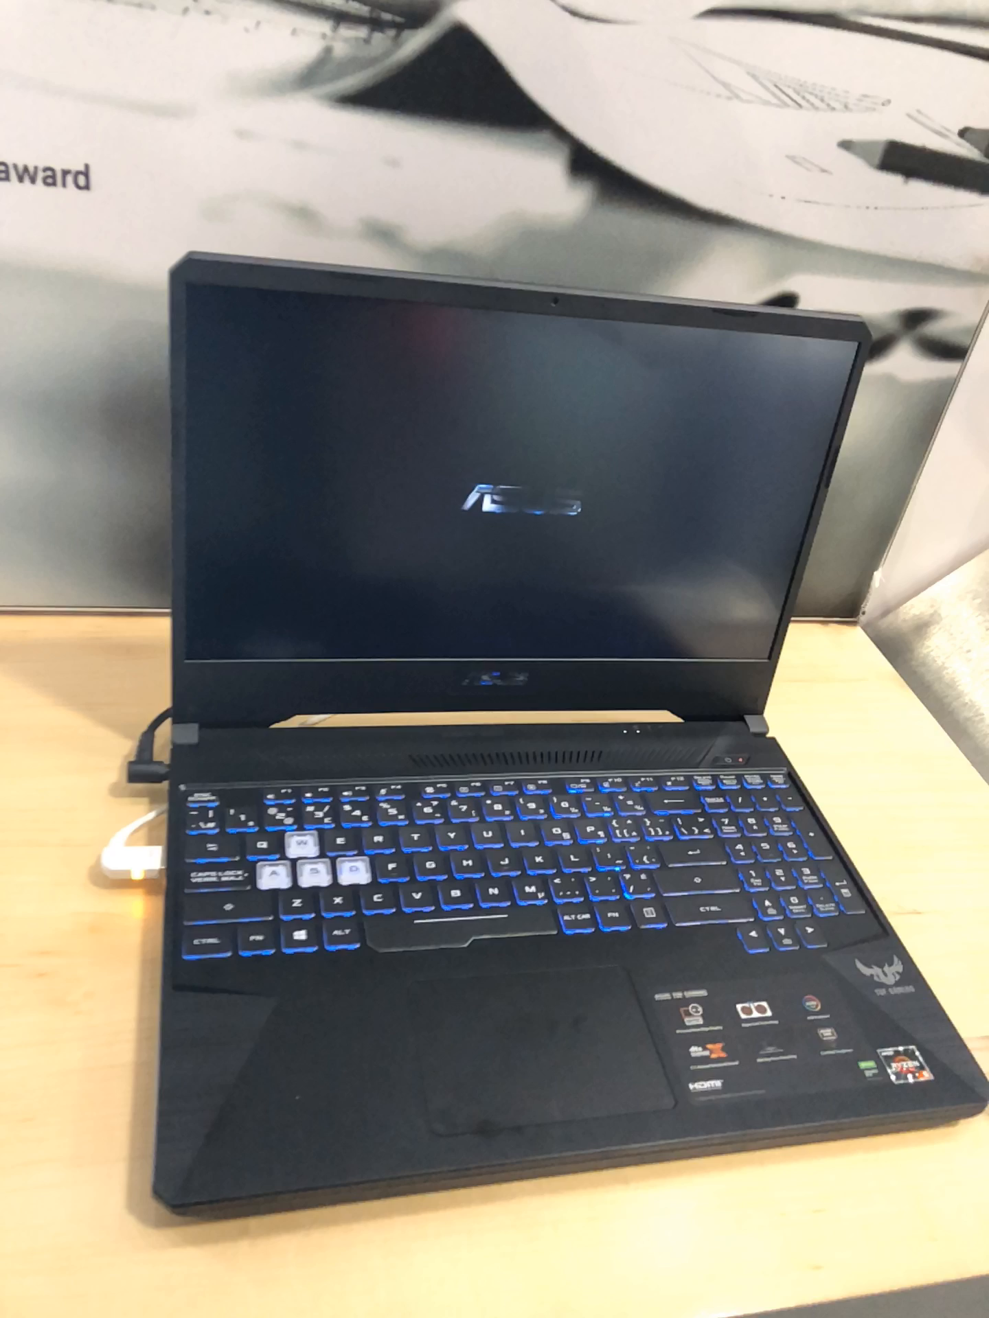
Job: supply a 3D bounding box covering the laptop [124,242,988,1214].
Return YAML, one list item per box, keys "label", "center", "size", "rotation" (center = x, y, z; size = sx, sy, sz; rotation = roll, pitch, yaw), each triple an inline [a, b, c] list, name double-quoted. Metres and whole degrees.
- label: "laptop"
  center: [0.036, 0.005, 0.485]
  size: [0.359, 0.245, 0.310]
  rotation: [0, 37, -16]
